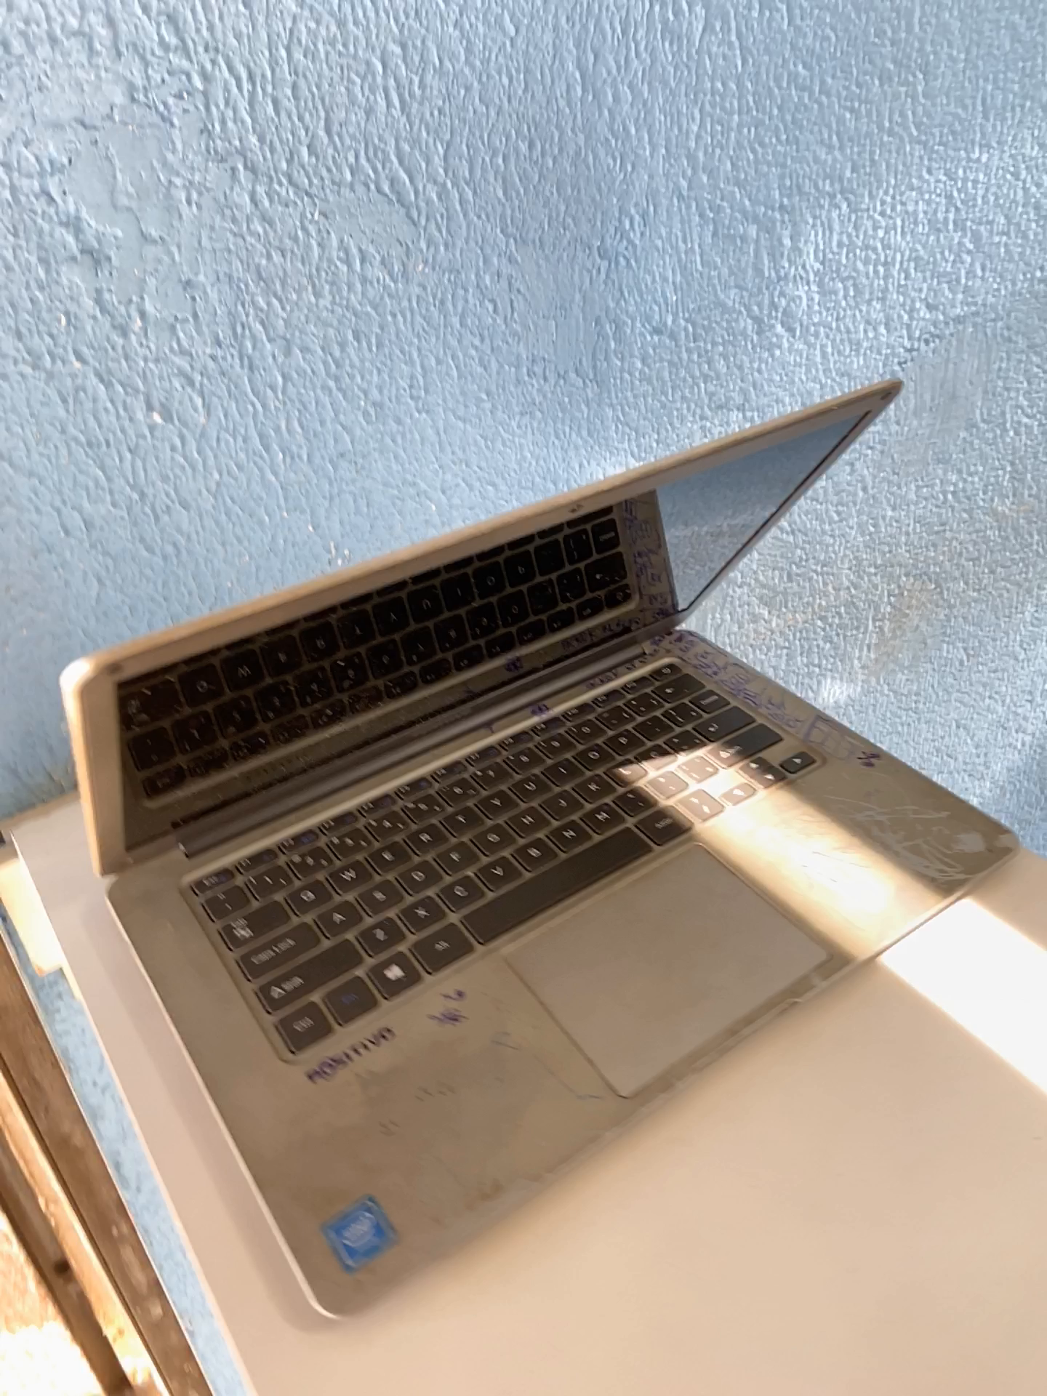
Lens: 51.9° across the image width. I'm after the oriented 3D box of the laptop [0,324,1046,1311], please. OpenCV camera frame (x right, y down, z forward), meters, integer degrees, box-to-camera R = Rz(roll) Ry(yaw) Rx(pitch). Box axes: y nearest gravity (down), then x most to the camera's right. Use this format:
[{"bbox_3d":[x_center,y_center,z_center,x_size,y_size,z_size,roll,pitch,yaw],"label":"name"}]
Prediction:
[{"bbox_3d":[0.014,0.000,0.409,0.327,0.167,0.212,-23,40,-27],"label":"laptop"}]
